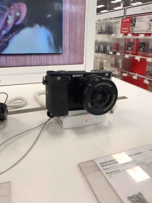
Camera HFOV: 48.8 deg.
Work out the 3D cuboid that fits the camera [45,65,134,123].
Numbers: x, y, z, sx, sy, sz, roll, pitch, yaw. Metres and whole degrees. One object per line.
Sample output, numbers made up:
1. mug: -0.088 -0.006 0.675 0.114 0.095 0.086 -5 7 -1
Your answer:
1. camera: 0.020 -0.020 0.282 0.130 0.070 0.060 -7 22 -21
